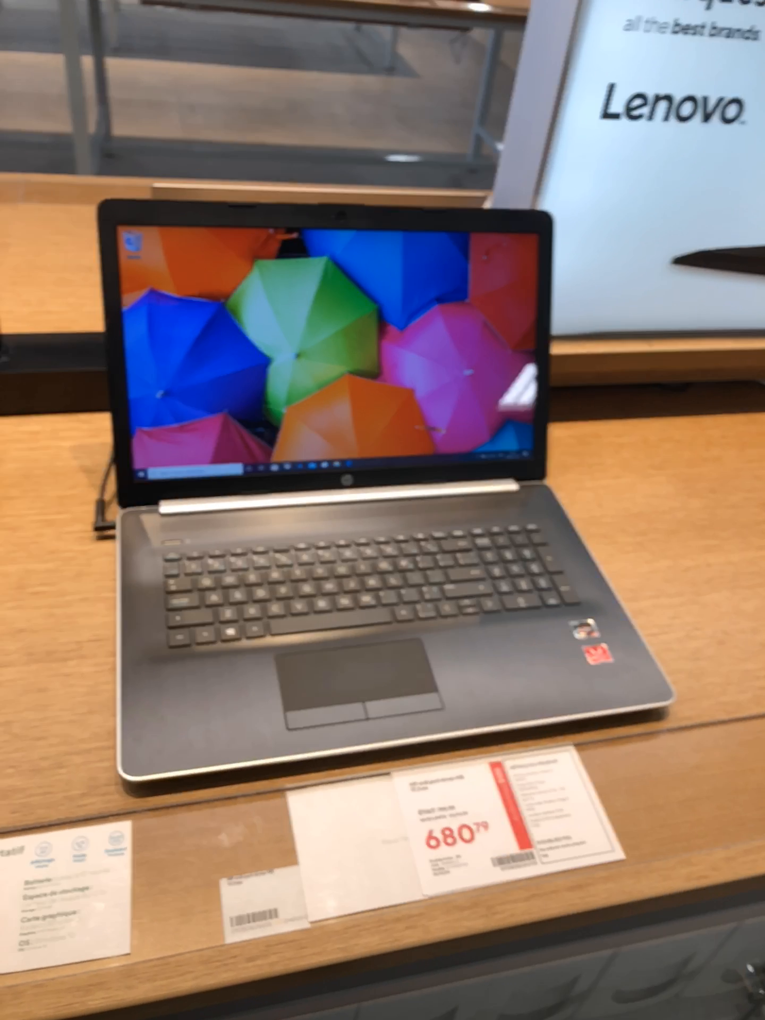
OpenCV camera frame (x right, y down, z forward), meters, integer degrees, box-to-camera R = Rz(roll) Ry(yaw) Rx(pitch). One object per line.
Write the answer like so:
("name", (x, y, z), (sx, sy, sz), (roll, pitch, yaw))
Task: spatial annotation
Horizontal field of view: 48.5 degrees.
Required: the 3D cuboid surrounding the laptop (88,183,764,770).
("laptop", (-0.011, -0.062, 0.681), (0.399, 0.217, 0.399), (-4, 44, -15))
